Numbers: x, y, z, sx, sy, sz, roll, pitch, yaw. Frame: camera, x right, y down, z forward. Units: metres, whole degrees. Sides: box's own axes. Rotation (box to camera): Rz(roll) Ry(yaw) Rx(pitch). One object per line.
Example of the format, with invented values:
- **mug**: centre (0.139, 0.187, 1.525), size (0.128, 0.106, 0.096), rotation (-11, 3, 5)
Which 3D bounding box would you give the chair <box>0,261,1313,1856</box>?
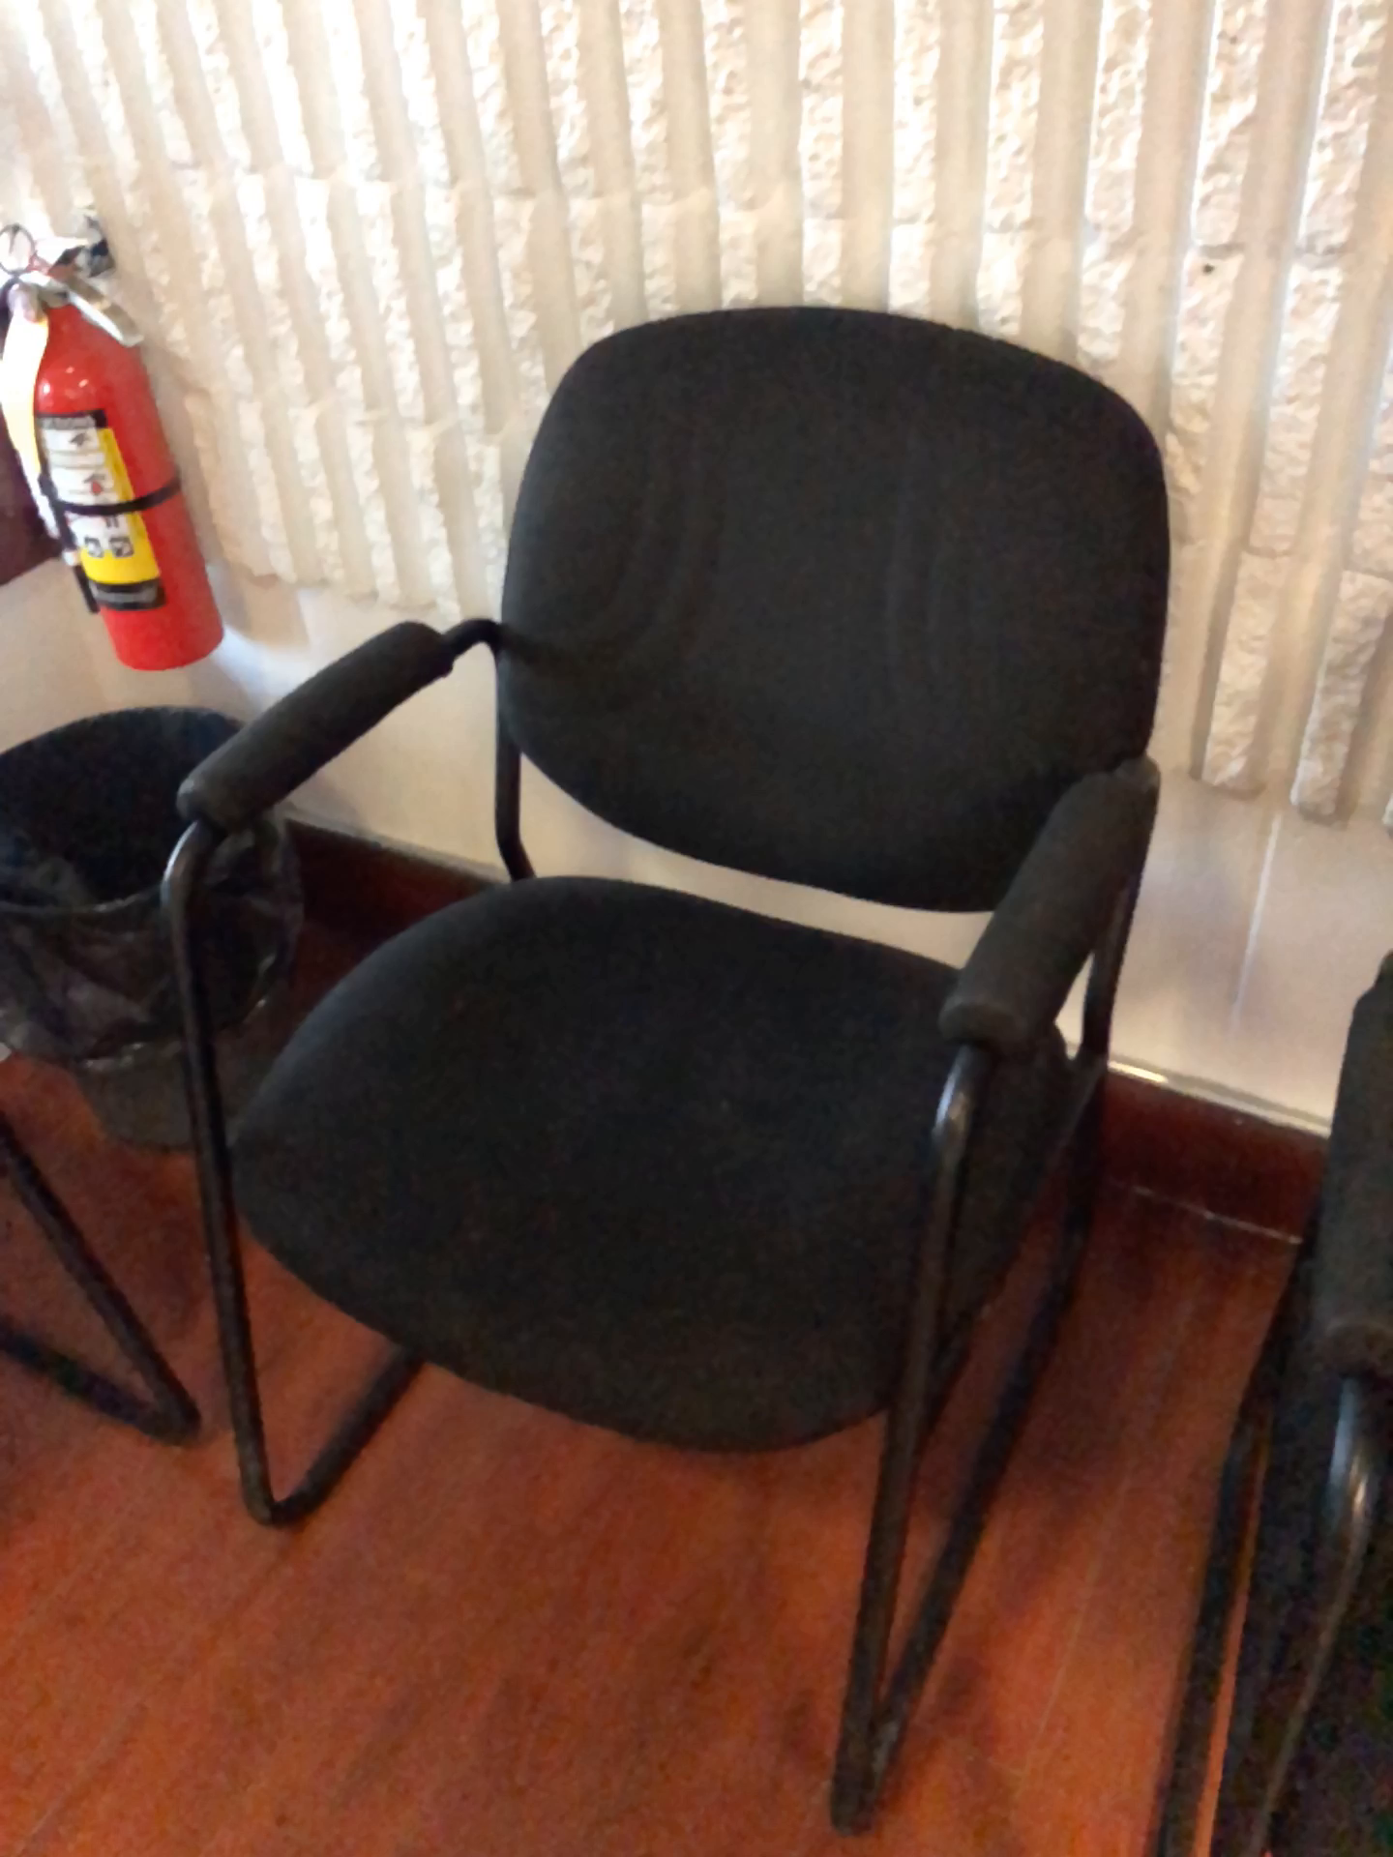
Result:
- **chair**: centre (0.015, 0.045, 1.164), size (0.591, 0.794, 0.774), rotation (15, 43, 23)
